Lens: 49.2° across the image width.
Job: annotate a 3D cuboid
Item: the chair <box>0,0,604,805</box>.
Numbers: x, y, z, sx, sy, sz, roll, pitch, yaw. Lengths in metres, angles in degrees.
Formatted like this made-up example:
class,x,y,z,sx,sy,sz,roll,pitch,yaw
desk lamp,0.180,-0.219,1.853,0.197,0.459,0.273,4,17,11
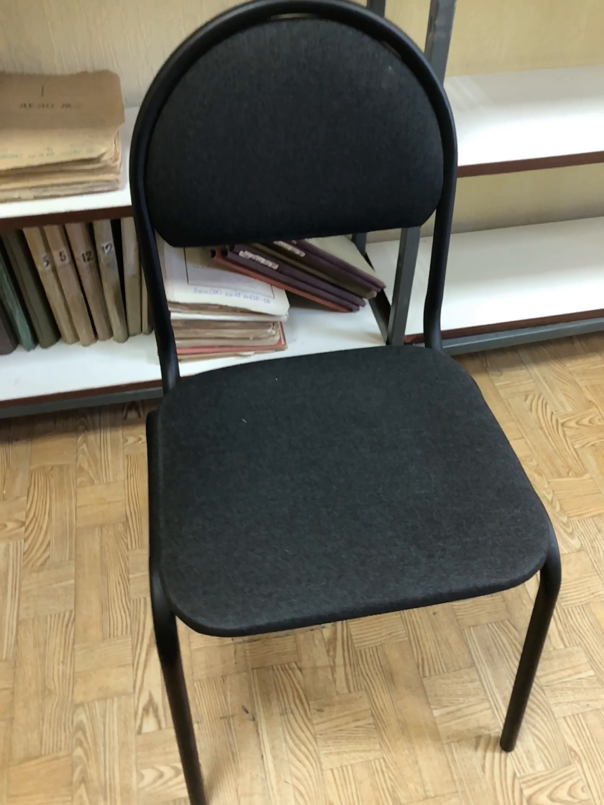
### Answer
class,x,y,z,sx,sy,sz,roll,pitch,yaw
chair,0.034,0.060,0.804,0.472,0.835,0.563,-7,49,-7
